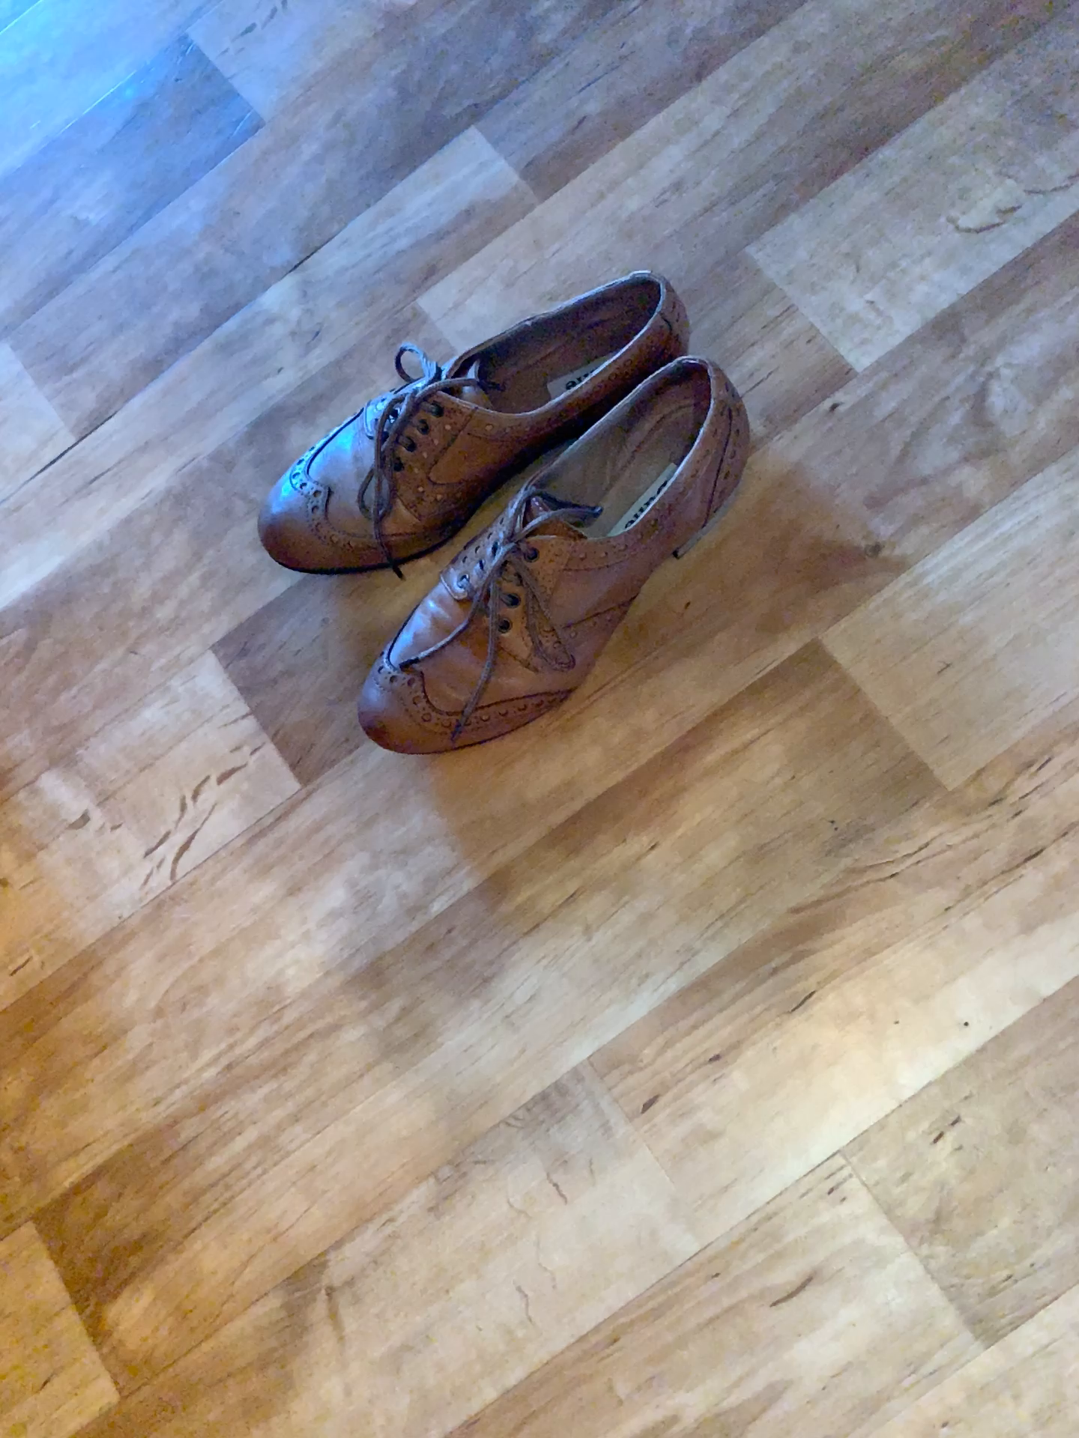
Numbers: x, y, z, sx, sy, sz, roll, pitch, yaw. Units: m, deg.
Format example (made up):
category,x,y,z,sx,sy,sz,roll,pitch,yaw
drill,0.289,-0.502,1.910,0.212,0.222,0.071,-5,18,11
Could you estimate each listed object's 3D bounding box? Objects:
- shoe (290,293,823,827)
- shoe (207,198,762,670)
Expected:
category,x,y,z,sx,sy,sz,roll,pitch,yaw
shoe,0.016,-0.063,0.516,0.230,0.120,0.080,-43,74,0
shoe,-0.019,-0.131,0.553,0.240,0.120,0.090,-26,74,5
